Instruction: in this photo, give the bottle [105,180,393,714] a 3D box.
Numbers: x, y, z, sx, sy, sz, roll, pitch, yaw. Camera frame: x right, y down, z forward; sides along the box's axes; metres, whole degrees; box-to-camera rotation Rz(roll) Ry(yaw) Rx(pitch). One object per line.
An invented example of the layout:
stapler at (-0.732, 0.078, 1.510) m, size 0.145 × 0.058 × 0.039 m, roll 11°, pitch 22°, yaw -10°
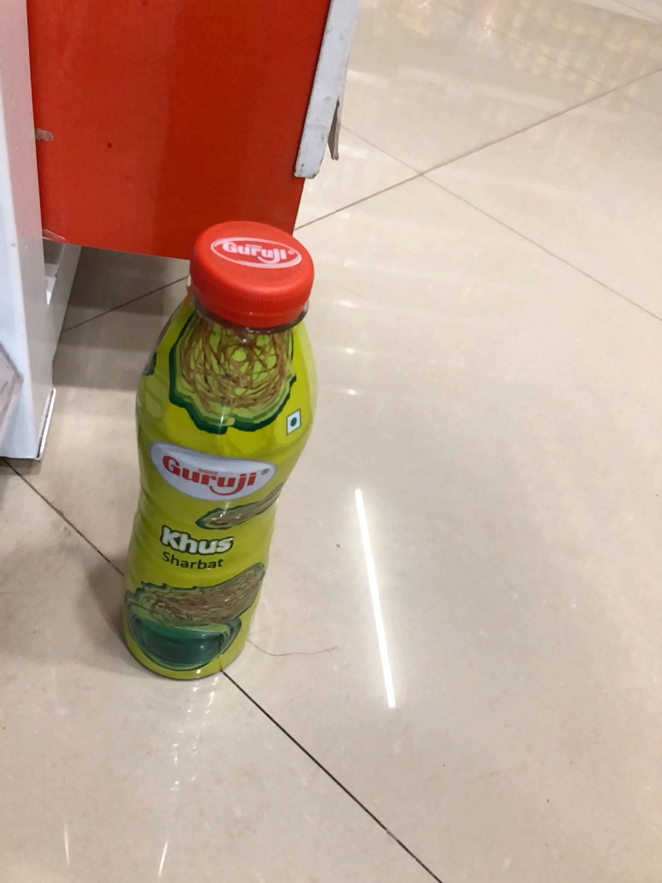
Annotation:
bottle at (-0.046, 0.024, 0.320) m, size 0.080 × 0.238 × 0.081 m, roll 9°, pitch 46°, yaw -9°
